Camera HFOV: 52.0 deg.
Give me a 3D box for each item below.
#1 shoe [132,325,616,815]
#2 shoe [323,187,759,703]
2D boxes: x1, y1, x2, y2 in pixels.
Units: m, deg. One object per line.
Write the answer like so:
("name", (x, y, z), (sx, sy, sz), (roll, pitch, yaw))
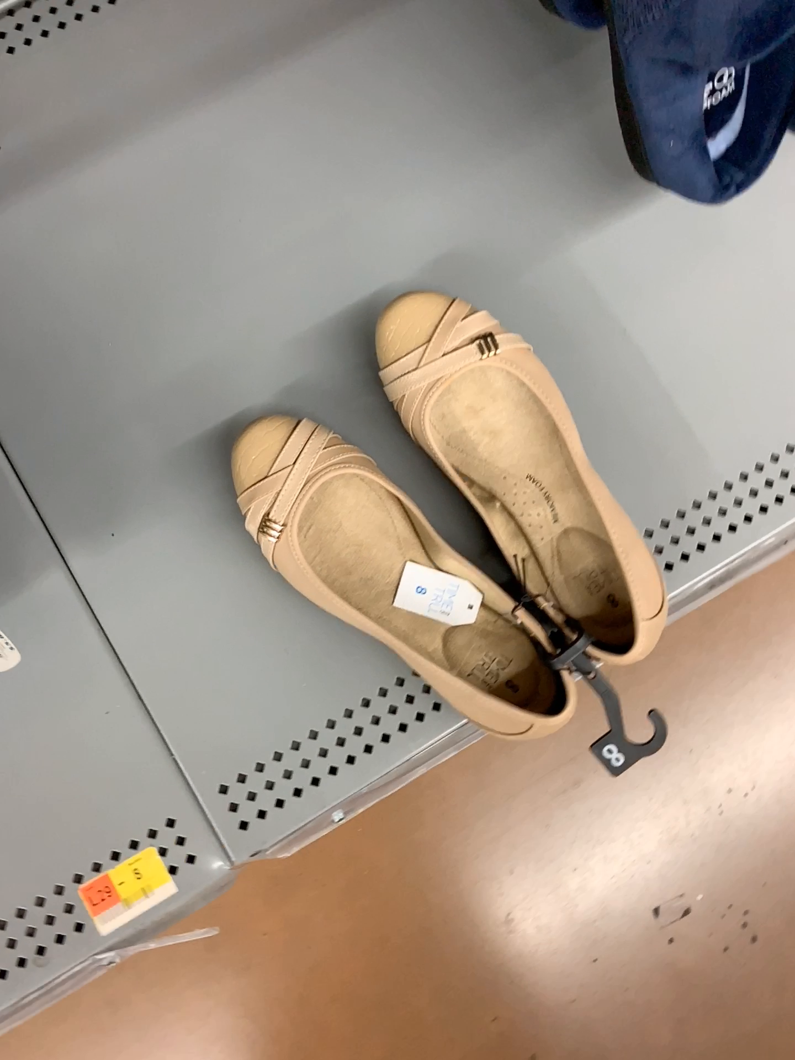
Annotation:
("shoe", (-0.016, 0.024, 0.499), (0.100, 0.100, 0.280), (-44, 88, -6))
("shoe", (0.075, -0.046, 0.498), (0.100, 0.100, 0.280), (-34, 87, -6))
